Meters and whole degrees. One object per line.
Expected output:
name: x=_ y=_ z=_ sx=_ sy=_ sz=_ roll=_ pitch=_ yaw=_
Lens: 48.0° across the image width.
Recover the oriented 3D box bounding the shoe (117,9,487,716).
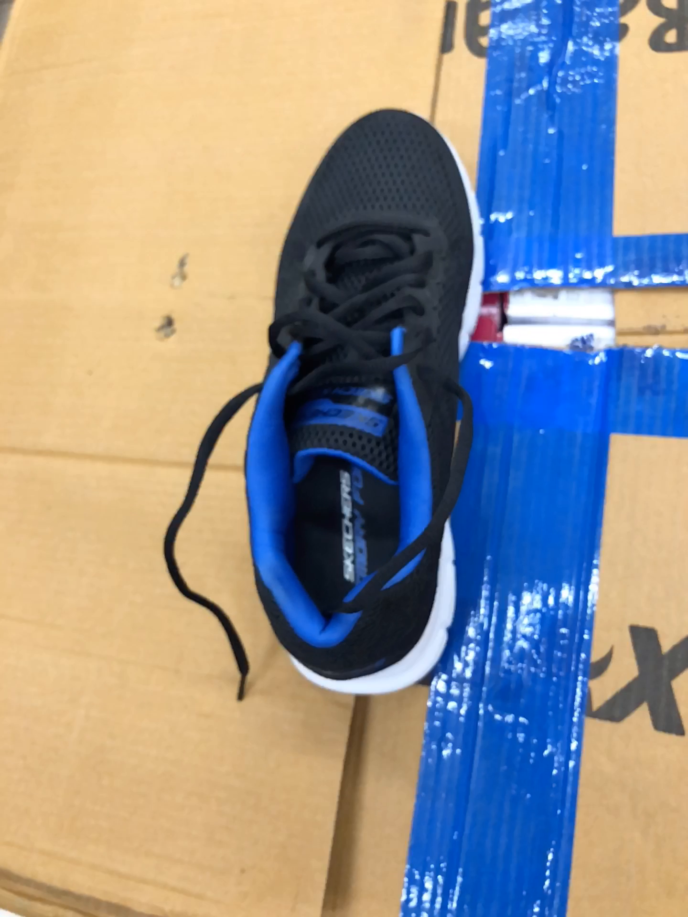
shoe: x=-0.003 y=-0.038 z=0.351 sx=0.114 sy=0.106 sz=0.278 roll=0 pitch=76 yaw=17
